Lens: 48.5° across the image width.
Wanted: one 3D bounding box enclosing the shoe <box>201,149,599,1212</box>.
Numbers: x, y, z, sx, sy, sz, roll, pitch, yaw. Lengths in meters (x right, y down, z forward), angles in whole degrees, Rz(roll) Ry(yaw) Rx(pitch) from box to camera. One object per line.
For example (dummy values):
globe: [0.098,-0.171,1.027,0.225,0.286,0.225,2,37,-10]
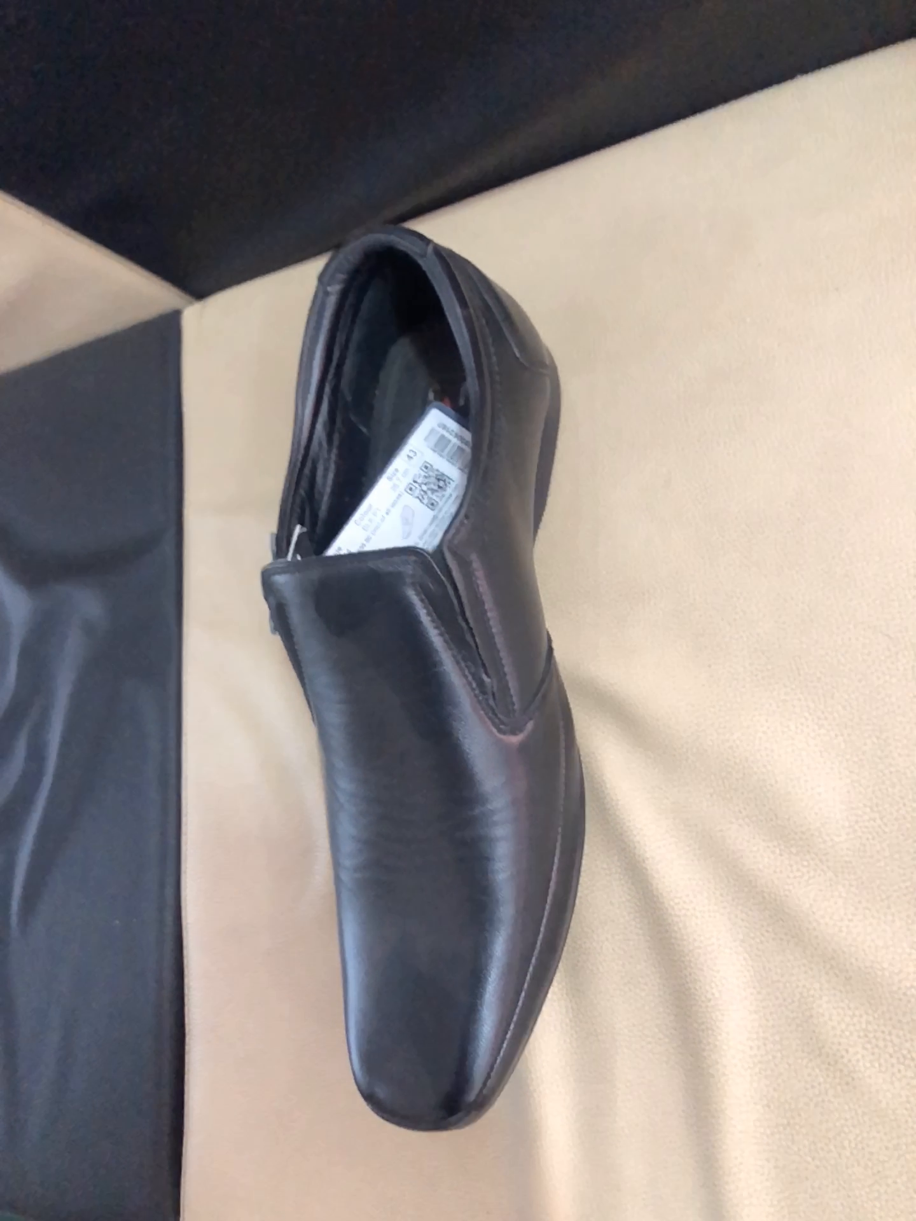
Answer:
shoe: [-0.017,0.018,0.369,0.100,0.090,0.320,-6,79,30]
